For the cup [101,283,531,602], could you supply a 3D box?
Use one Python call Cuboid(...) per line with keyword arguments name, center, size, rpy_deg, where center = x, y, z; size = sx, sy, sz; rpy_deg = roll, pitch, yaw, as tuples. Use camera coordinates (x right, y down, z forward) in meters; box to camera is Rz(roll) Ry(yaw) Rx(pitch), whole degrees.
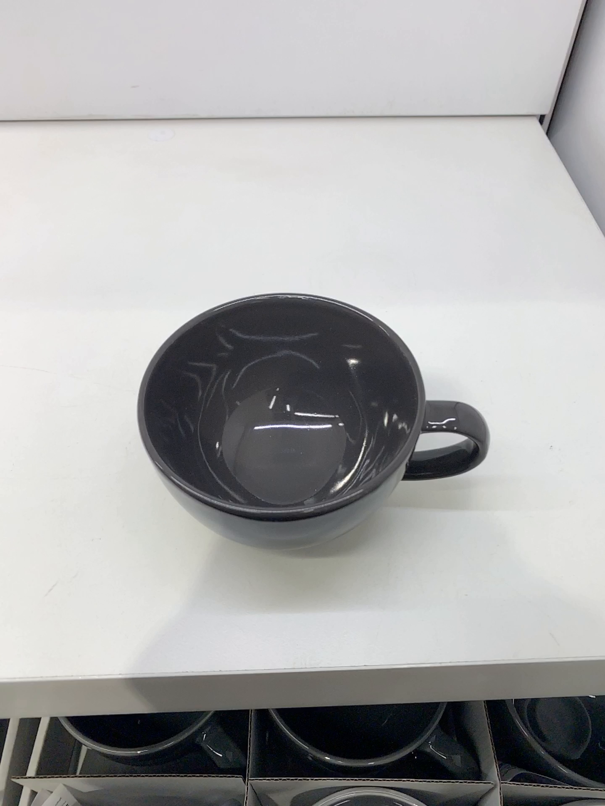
Cuboid(name="cup", center=(0.006, 0.010, 0.243), size=(0.130, 0.050, 0.110), rpy_deg=(3, 49, 2))
